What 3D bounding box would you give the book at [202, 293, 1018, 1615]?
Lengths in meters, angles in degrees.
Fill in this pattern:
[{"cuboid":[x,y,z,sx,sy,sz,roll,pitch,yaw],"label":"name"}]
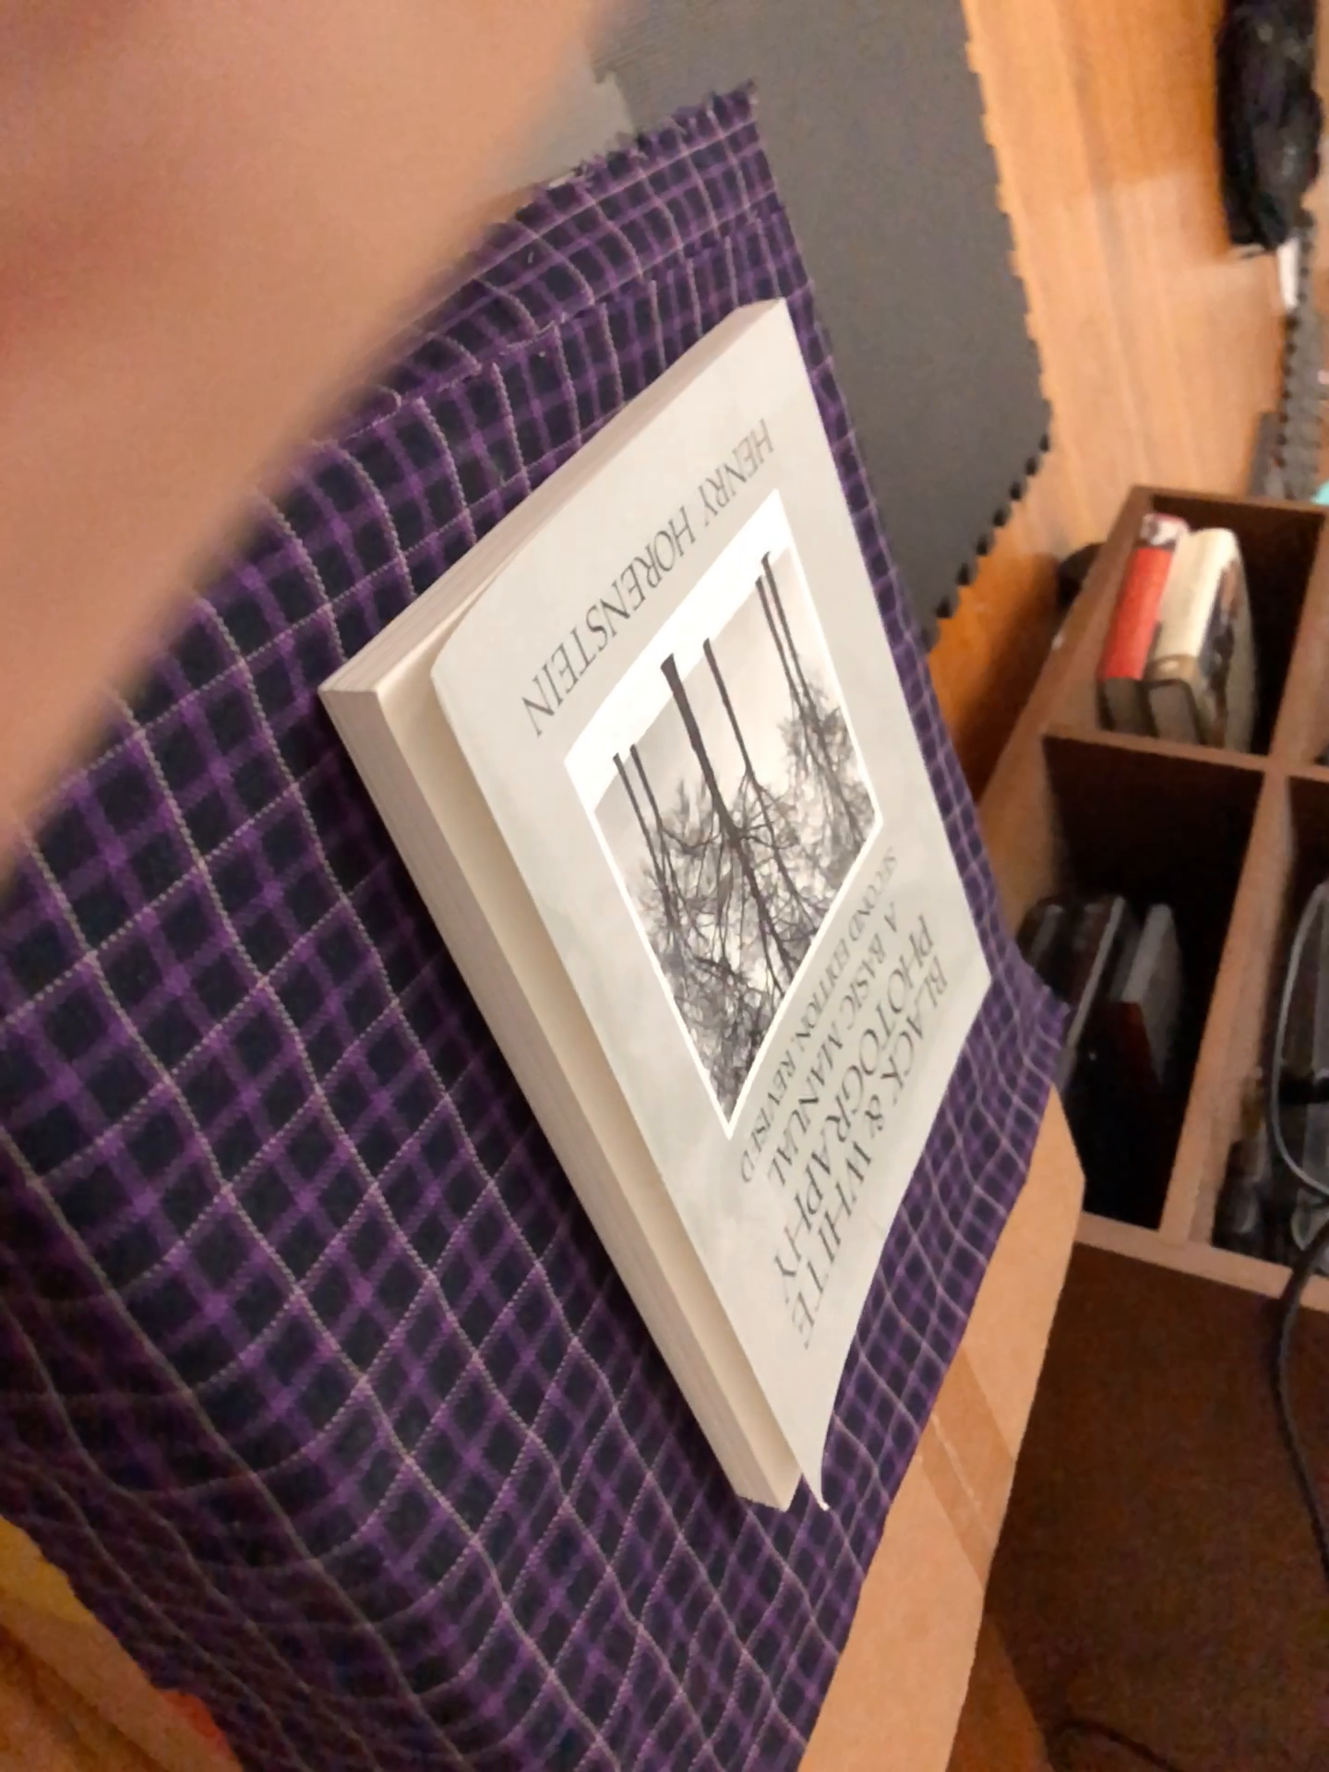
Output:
[{"cuboid":[0.022,0.012,0.372,0.211,0.030,0.250,-56,133,-44],"label":"book"}]
